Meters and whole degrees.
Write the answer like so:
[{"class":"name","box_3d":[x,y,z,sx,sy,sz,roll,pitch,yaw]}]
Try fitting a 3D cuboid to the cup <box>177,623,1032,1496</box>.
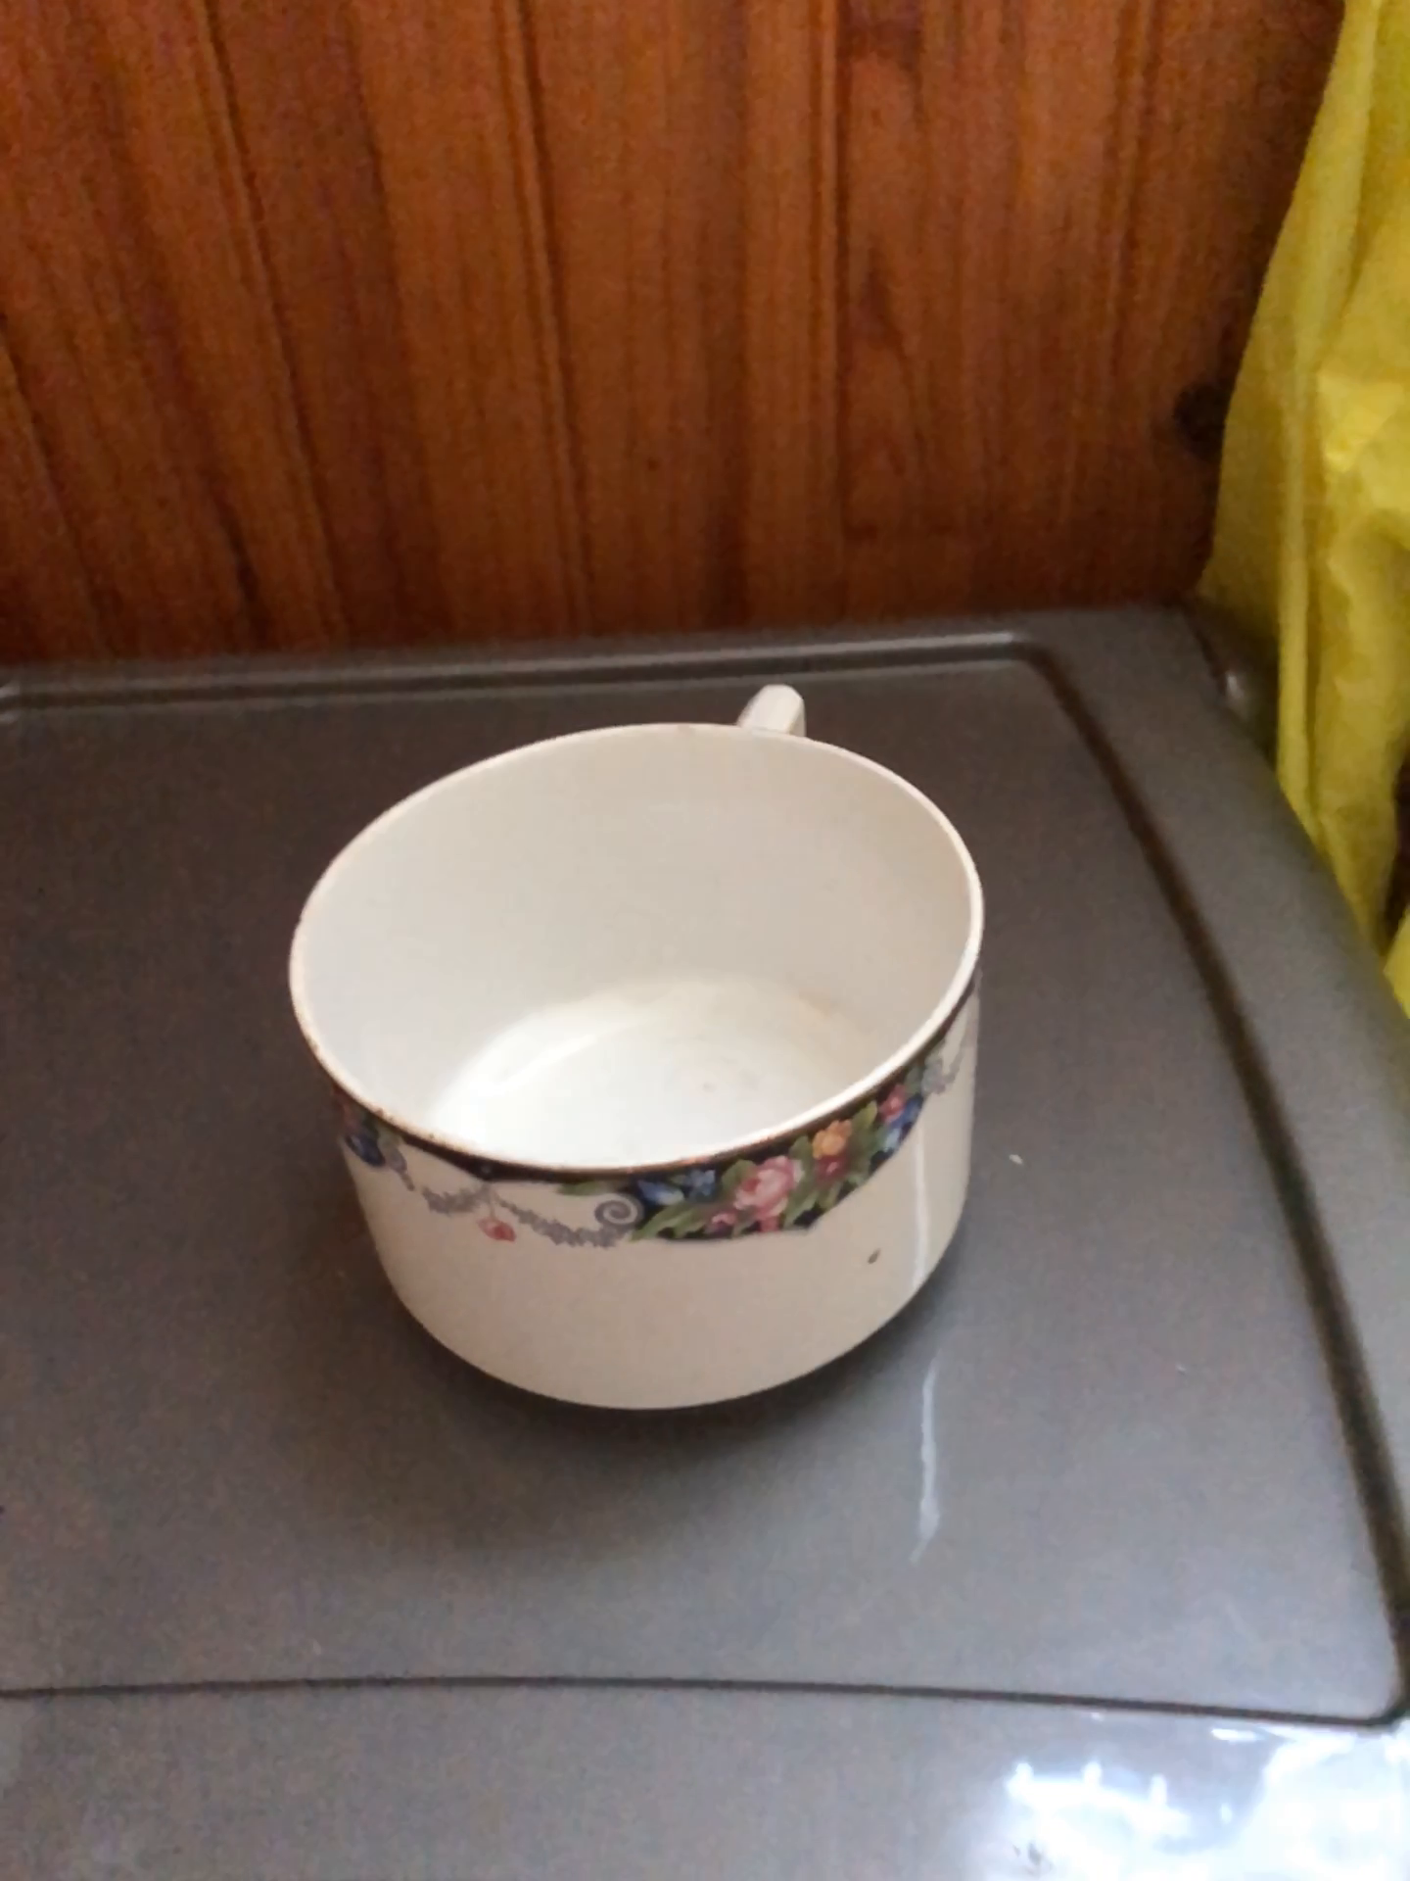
[{"class":"cup","box_3d":[-0.003,0.009,0.262,0.100,0.060,0.131,6,41,12]}]
